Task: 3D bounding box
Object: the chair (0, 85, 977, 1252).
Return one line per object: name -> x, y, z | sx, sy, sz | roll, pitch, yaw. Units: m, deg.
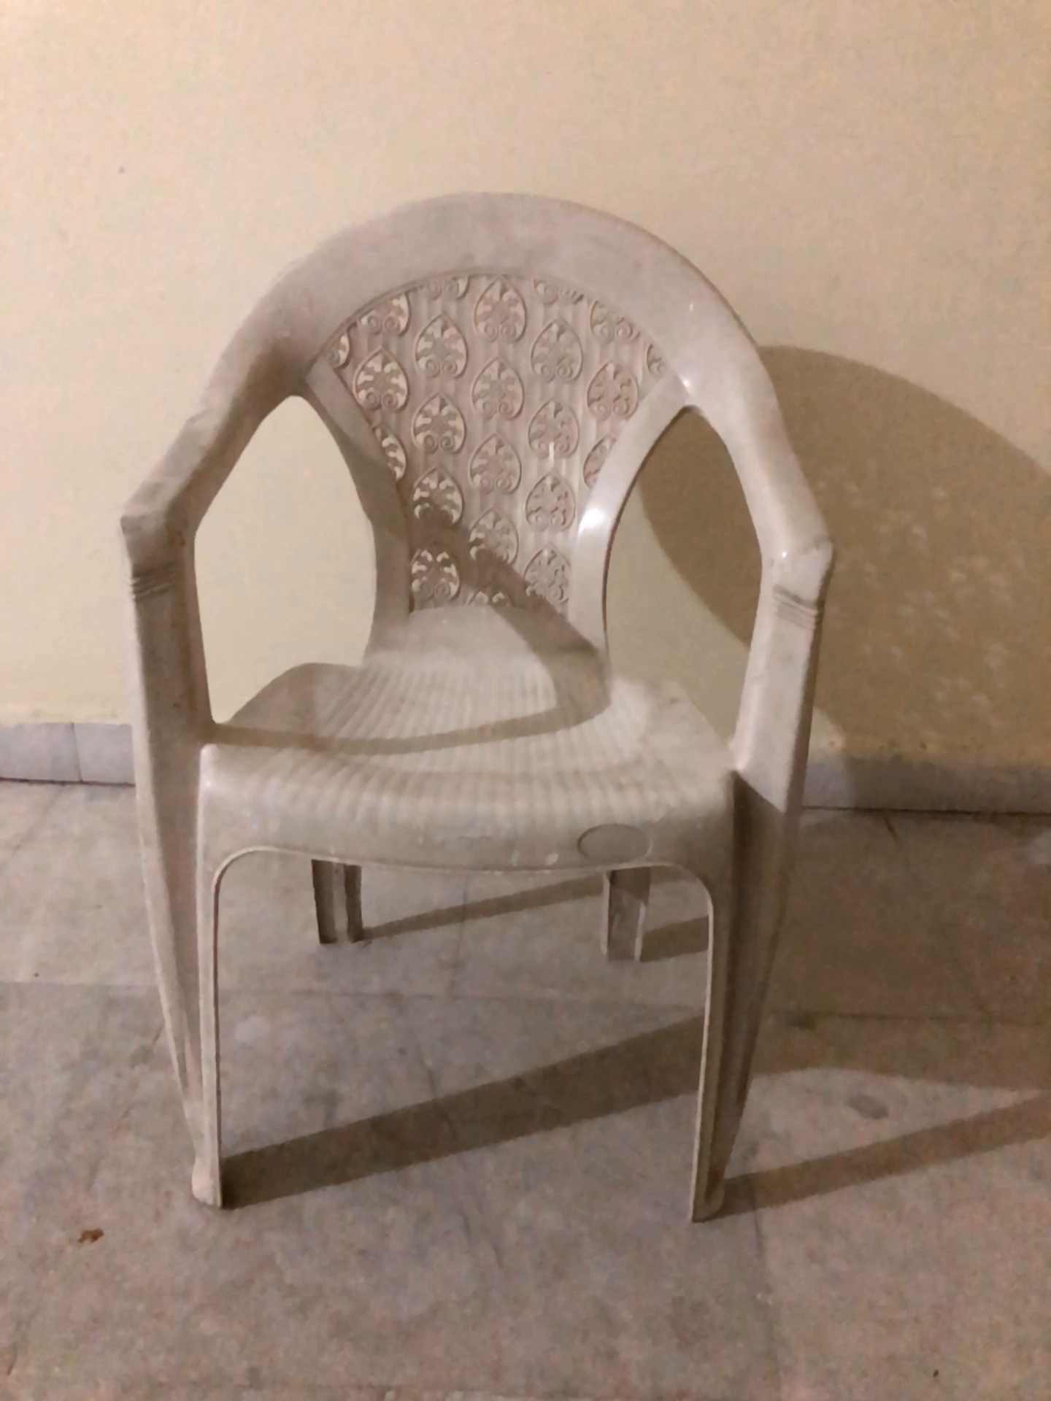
chair -> -0.031, -0.044, 1.011 | 0.530, 0.835, 0.513 | 2, 24, 1
